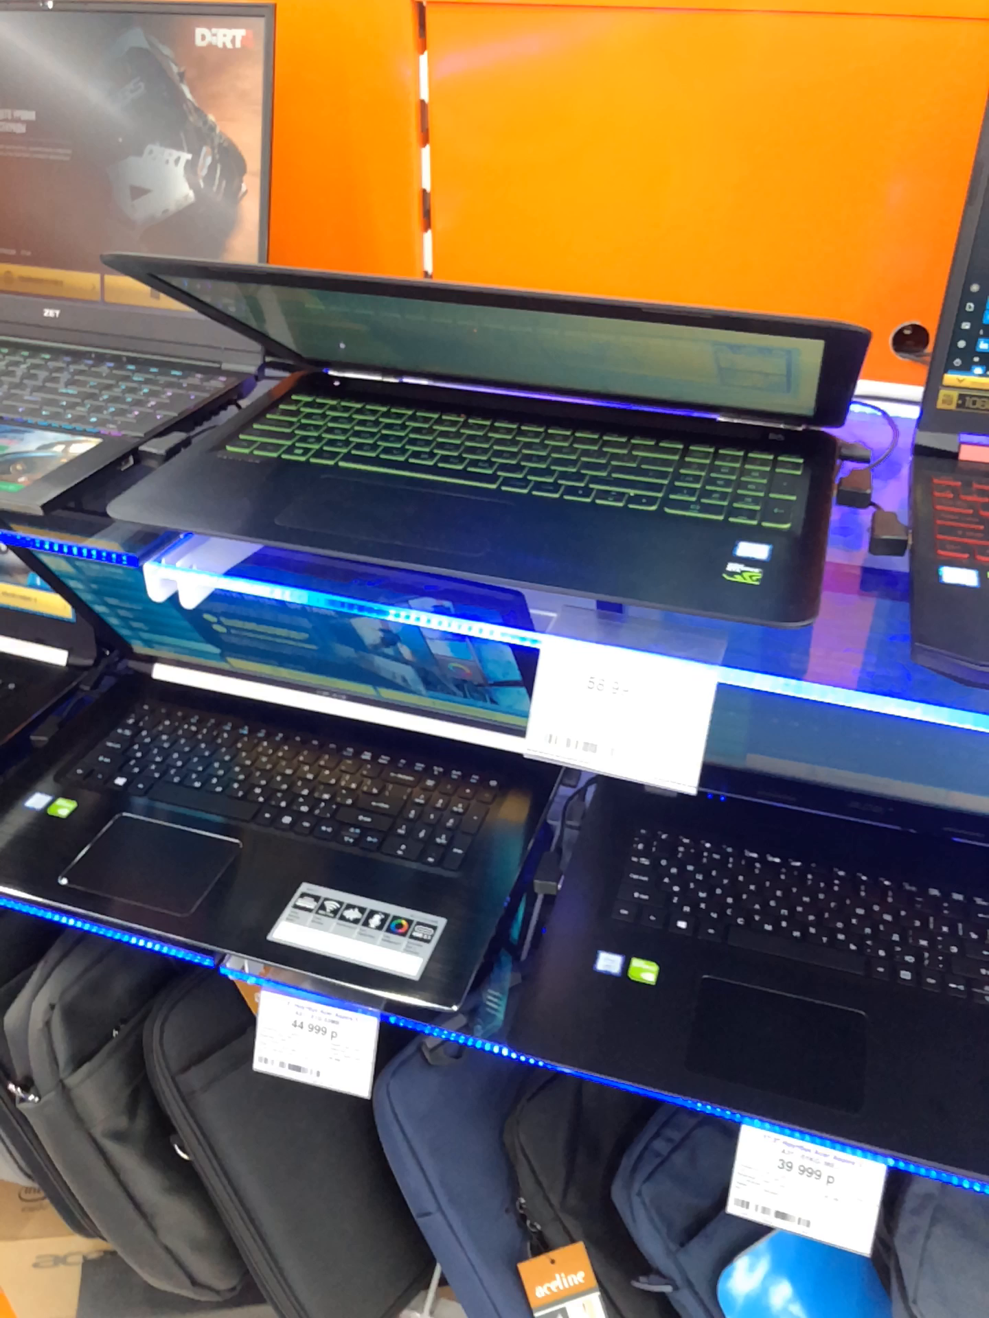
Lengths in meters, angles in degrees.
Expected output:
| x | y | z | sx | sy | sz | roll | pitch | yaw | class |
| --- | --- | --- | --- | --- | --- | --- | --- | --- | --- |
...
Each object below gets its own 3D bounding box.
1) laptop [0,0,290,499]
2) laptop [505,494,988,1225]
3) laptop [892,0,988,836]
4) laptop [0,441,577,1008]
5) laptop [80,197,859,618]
| x | y | z | sx | sy | sz | roll | pitch | yaw | class |
| --- | --- | --- | --- | --- | --- | --- | --- | --- | --- |
| -0.368 | -0.291 | 0.709 | 0.340 | 0.219 | 0.304 | 11 | 34 | 15 | laptop |
| 0.242 | 0.087 | 0.657 | 0.397 | 0.255 | 0.276 | 9 | 32 | 16 | laptop |
| 0.427 | -0.144 | 0.472 | 0.409 | 0.245 | 0.254 | 8 | 34 | 12 | laptop |
| -0.179 | 0.020 | 0.786 | 0.411 | 0.217 | 0.263 | 11 | 34 | 15 | laptop |
| 0.001 | -0.162 | 0.612 | 0.369 | 0.118 | 0.228 | 10 | 34 | 15 | laptop |
